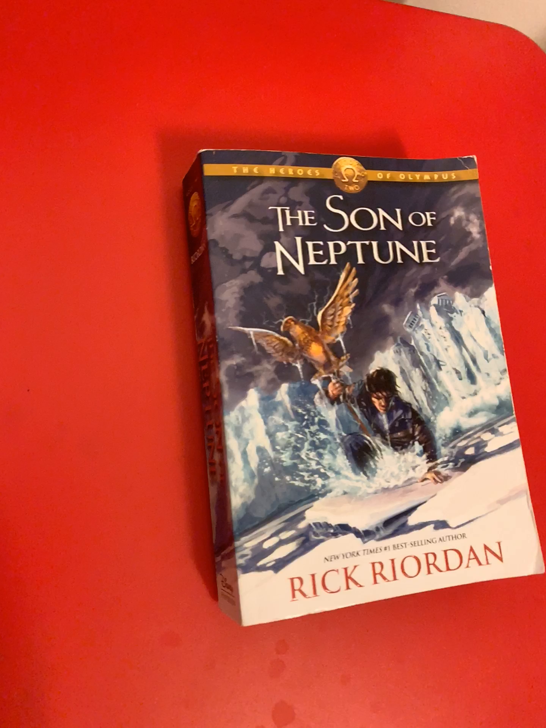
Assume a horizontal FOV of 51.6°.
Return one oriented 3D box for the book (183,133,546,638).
[{"bbox_3d":[0.041,0.001,0.248,0.142,0.040,0.188,-3,81,-18],"label":"book"}]
